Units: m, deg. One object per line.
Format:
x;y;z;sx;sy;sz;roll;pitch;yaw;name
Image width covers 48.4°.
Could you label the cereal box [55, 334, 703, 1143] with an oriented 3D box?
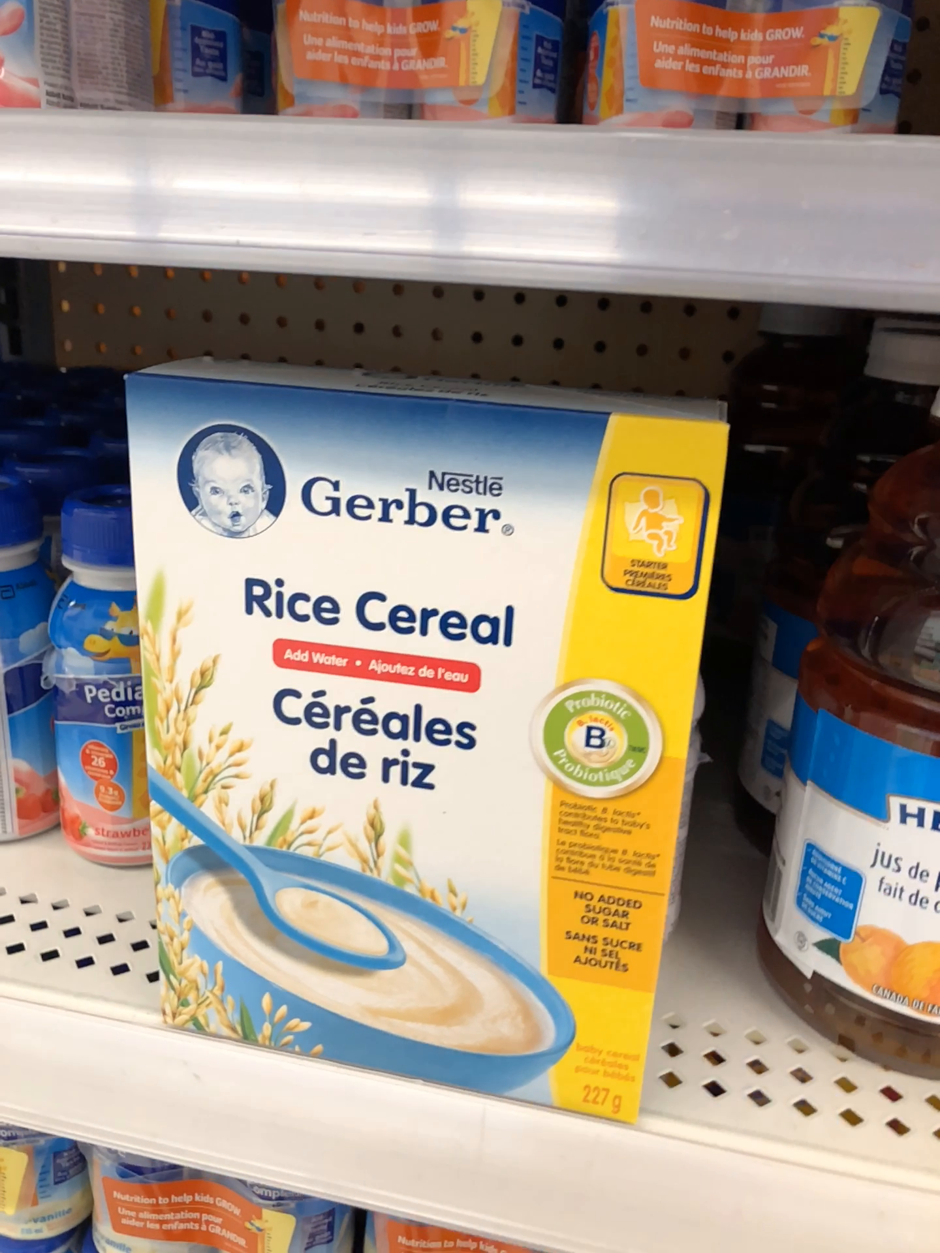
-0.024;0.029;0.294;0.150;0.199;0.060;8;20;10;cereal box
